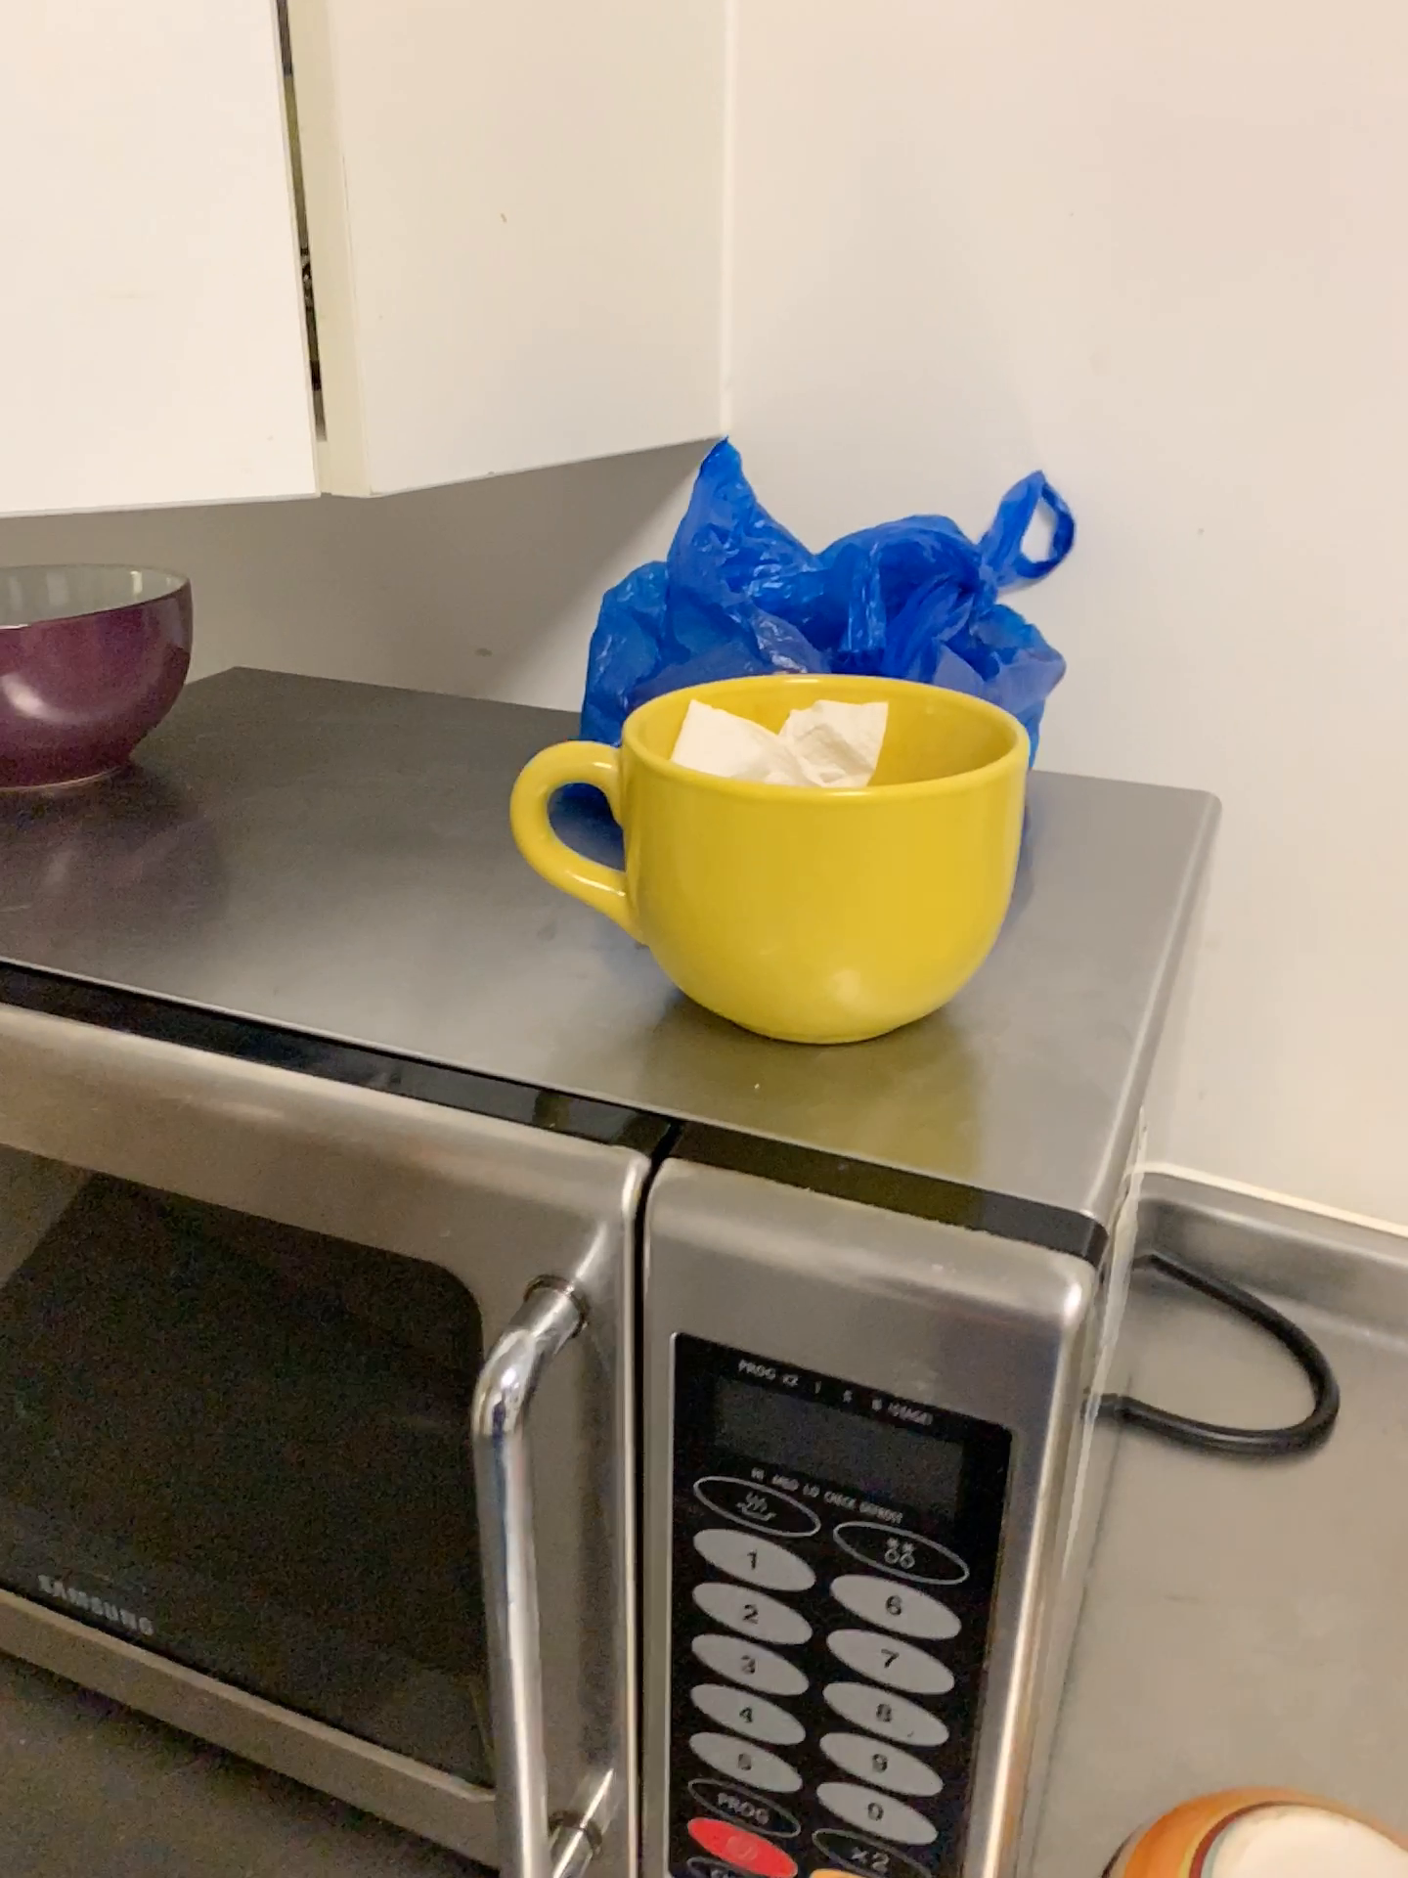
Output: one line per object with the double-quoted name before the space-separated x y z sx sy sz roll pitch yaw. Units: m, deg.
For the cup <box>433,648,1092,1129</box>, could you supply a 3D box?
"cup" 0.021 -0.025 0.419 0.154 0.082 0.116 10 25 20
